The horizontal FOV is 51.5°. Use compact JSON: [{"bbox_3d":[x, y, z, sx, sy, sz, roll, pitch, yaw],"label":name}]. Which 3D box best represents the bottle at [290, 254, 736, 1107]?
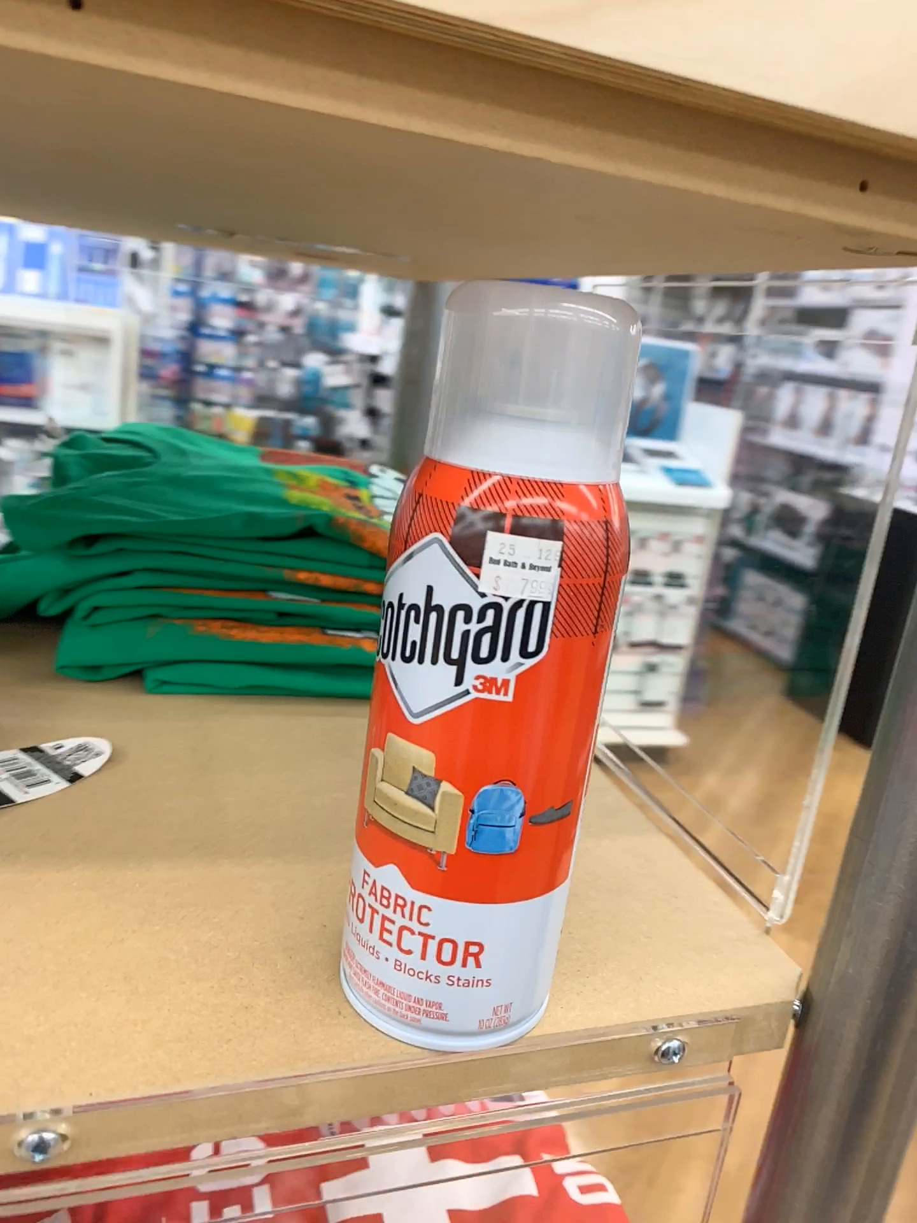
[{"bbox_3d":[0.011,0.016,0.265,0.069,0.206,0.067,7,15,-2],"label":"bottle"}]
